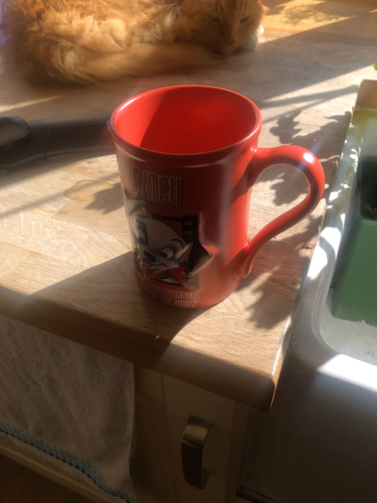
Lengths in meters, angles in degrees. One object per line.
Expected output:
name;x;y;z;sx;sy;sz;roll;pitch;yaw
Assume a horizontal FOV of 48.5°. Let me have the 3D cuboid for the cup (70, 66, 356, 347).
cup;0.017;-0.033;0.270;0.131;0.119;0.095;17;45;18
